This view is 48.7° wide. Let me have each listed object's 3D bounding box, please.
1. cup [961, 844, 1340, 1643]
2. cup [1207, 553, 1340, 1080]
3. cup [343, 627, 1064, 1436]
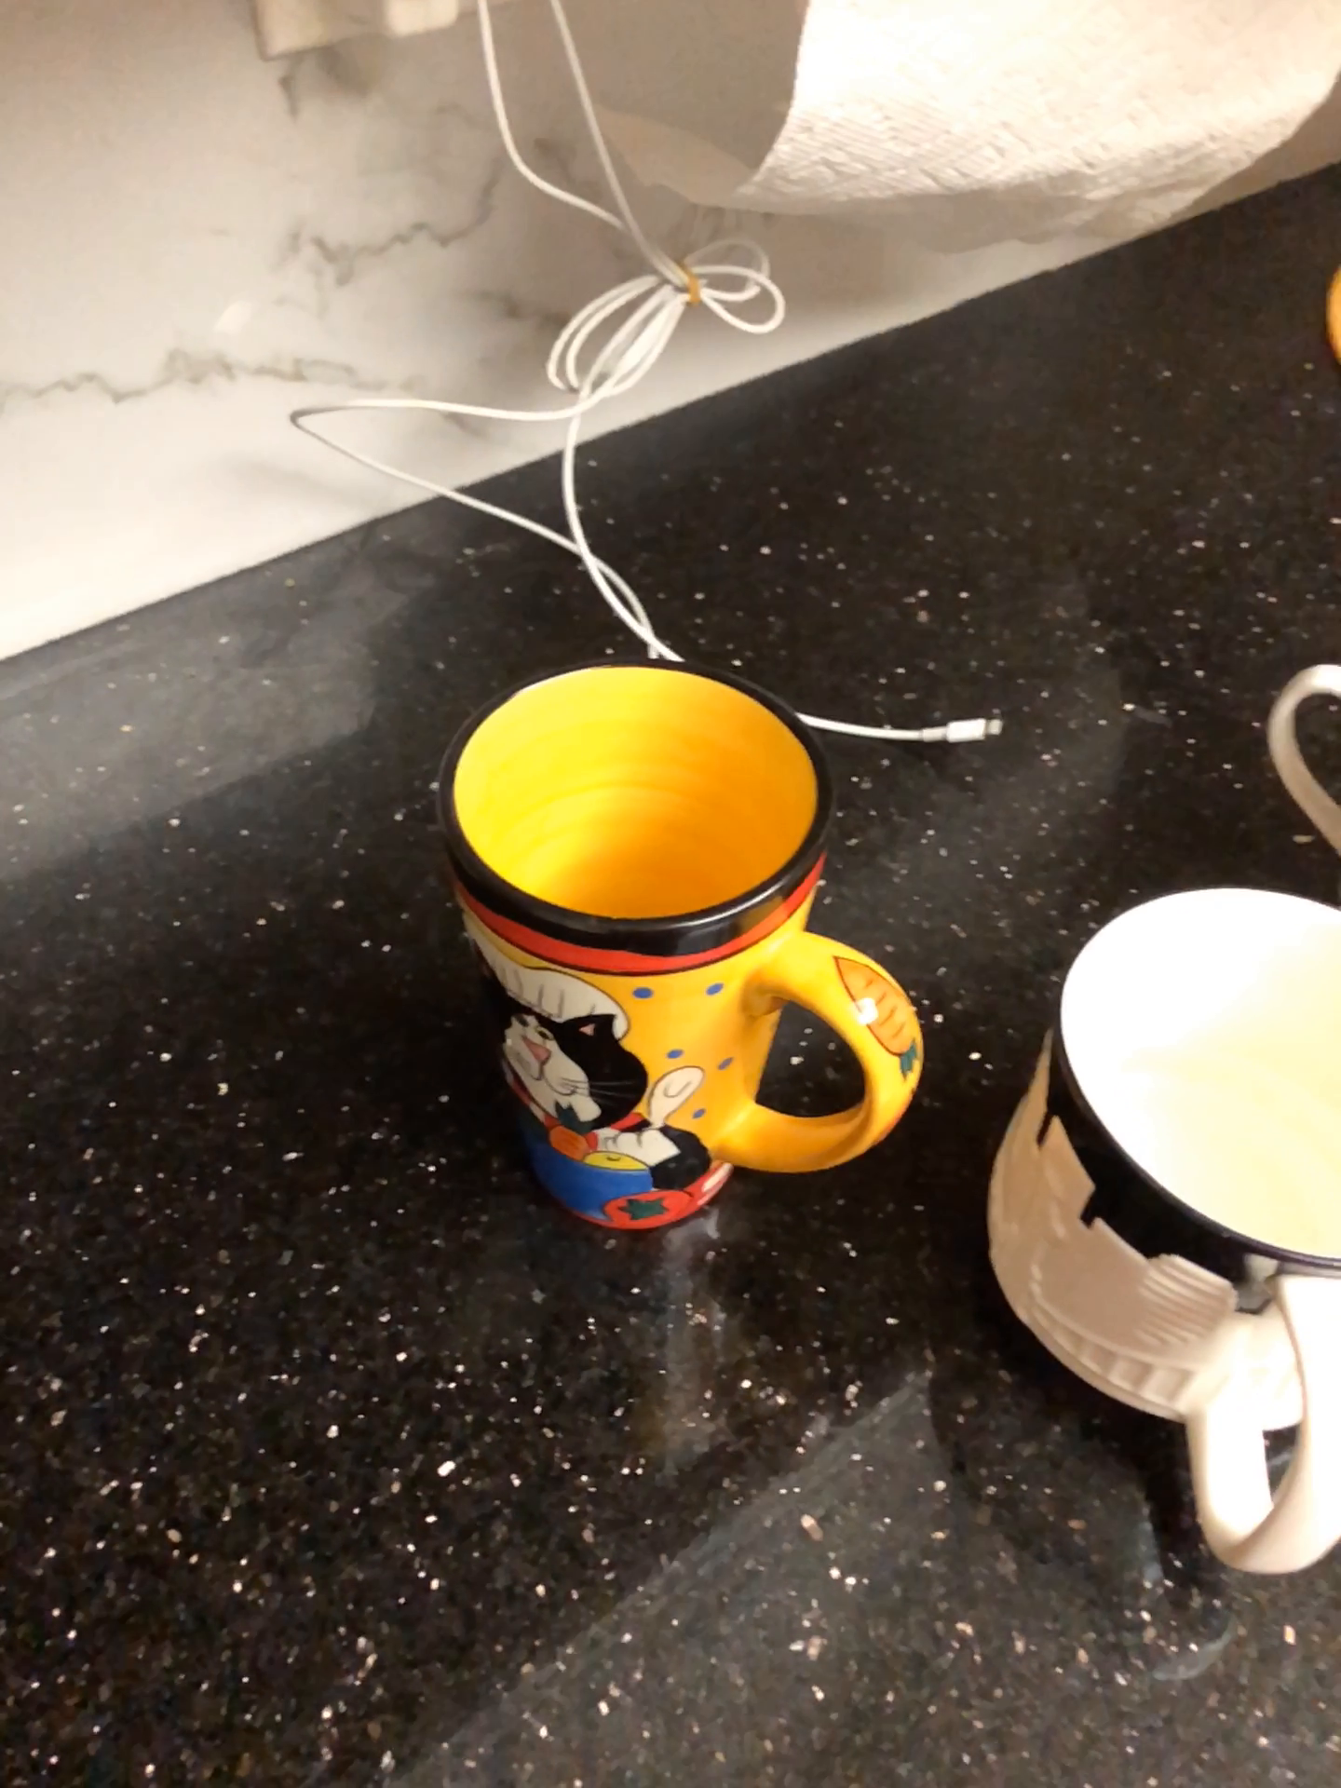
[{"bbox_3d":[0.134,0.085,0.375,0.100,0.109,0.151,7,48,5],"label":"cup"},{"bbox_3d":[0.242,-0.025,0.475,0.090,0.109,0.100,19,50,15],"label":"cup"},{"bbox_3d":[0.007,0.037,0.378,0.130,0.149,0.090,24,51,19],"label":"cup"}]
